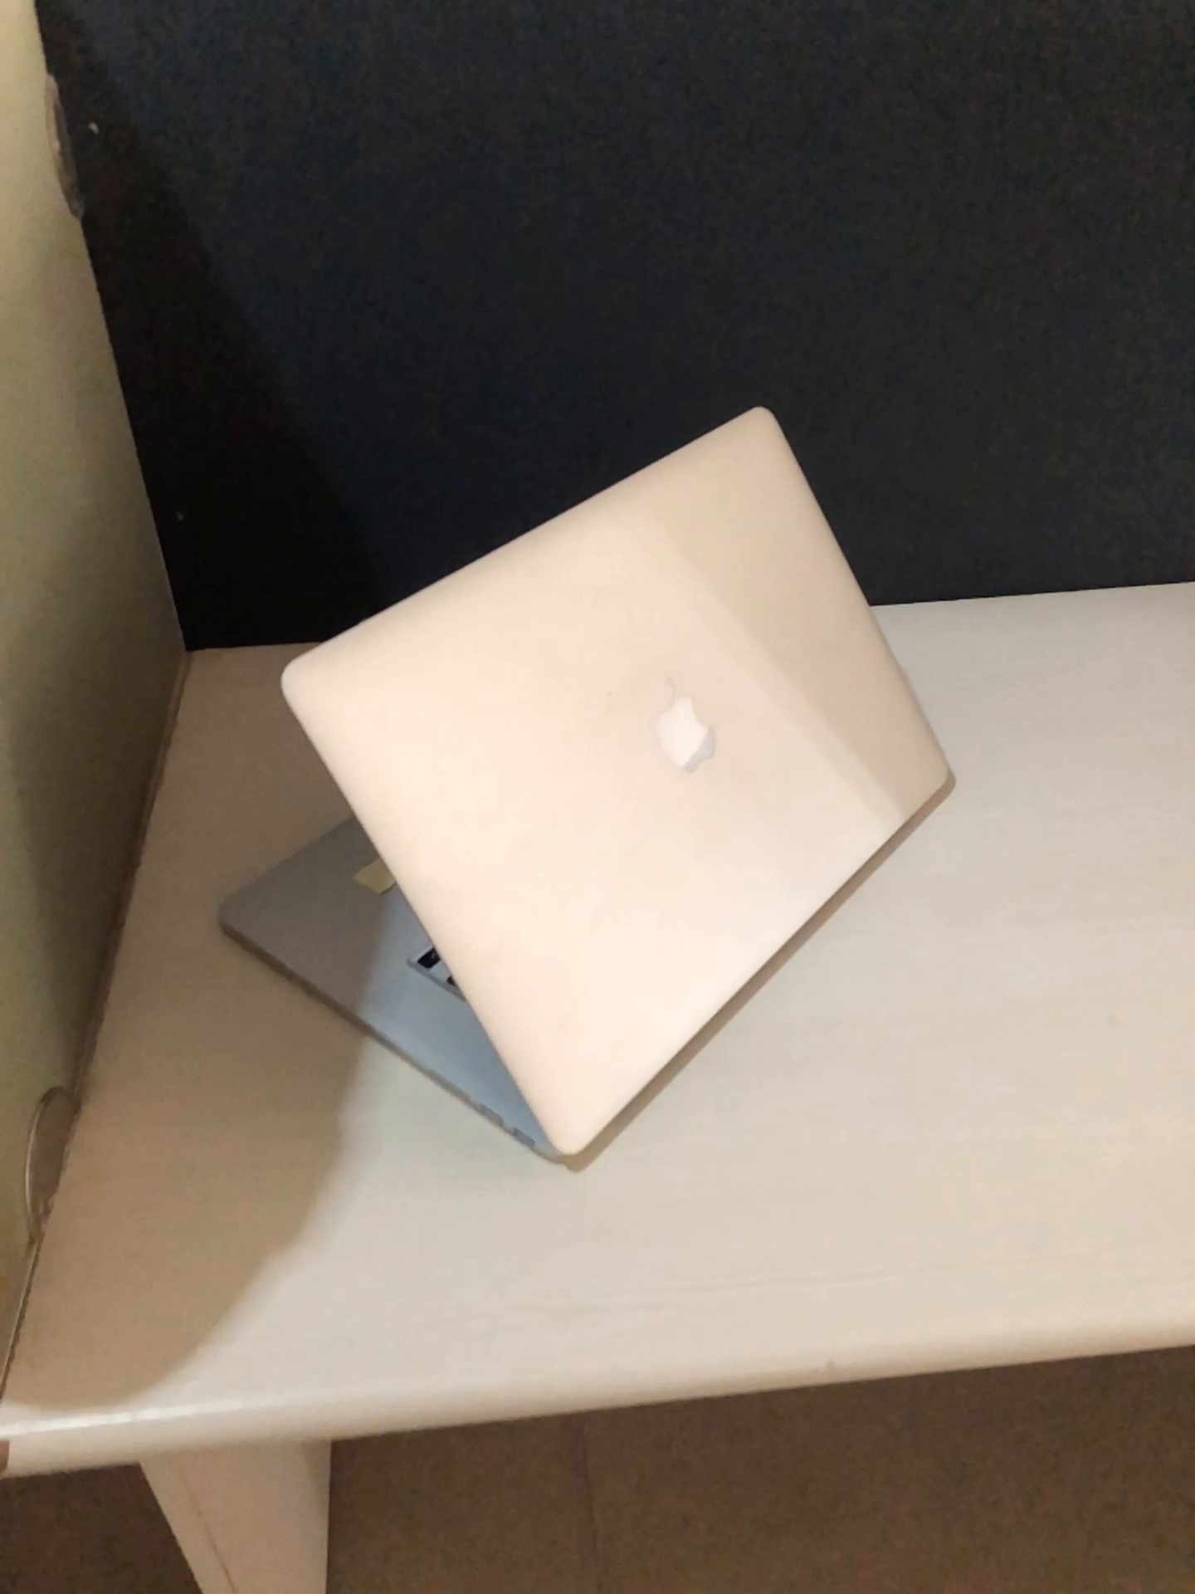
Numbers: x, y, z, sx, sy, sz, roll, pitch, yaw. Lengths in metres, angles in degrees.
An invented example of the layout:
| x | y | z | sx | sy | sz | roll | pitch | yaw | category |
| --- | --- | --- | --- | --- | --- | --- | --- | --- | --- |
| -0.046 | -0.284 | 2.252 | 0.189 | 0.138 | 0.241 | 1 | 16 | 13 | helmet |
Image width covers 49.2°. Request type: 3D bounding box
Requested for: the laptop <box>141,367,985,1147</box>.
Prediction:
| x | y | z | sx | sy | sz | roll | pitch | yaw | category |
| --- | --- | --- | --- | --- | --- | --- | --- | --- | --- |
| 0.000 | -0.052 | 0.681 | 0.235 | 0.197 | 0.344 | 26 | 45 | 30 | laptop |
